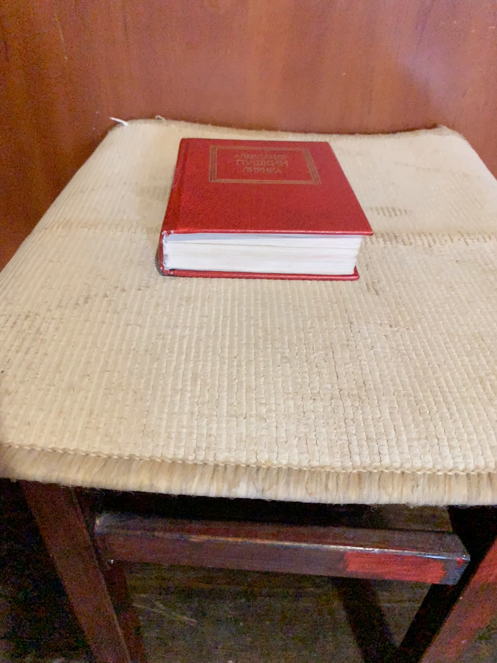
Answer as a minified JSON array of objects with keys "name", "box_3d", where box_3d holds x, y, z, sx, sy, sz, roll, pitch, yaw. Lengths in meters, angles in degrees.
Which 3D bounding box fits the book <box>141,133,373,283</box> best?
[{"name":"book","box_3d":[0.003,-0.087,0.334,0.119,0.034,0.150,0,38,-2]}]
